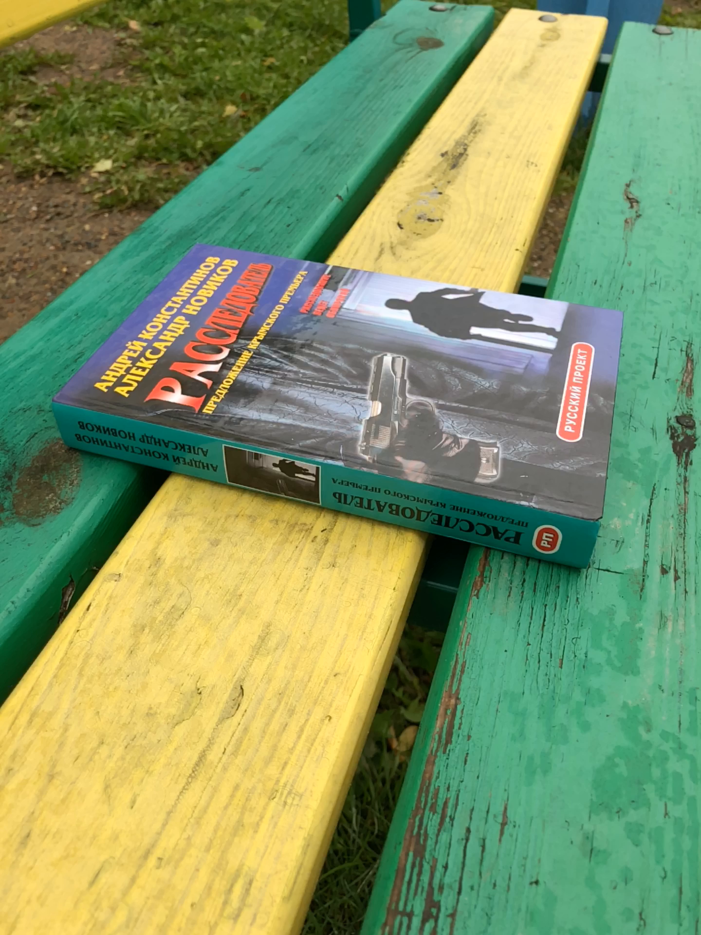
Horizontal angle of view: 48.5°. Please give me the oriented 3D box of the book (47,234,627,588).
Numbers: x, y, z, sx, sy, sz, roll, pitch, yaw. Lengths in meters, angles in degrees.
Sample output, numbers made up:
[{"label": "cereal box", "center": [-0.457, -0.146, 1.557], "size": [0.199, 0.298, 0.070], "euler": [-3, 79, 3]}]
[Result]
[{"label": "book", "center": [0.005, -0.037, 0.324], "size": [0.201, 0.031, 0.139], "euler": [13, 44, 12]}]
